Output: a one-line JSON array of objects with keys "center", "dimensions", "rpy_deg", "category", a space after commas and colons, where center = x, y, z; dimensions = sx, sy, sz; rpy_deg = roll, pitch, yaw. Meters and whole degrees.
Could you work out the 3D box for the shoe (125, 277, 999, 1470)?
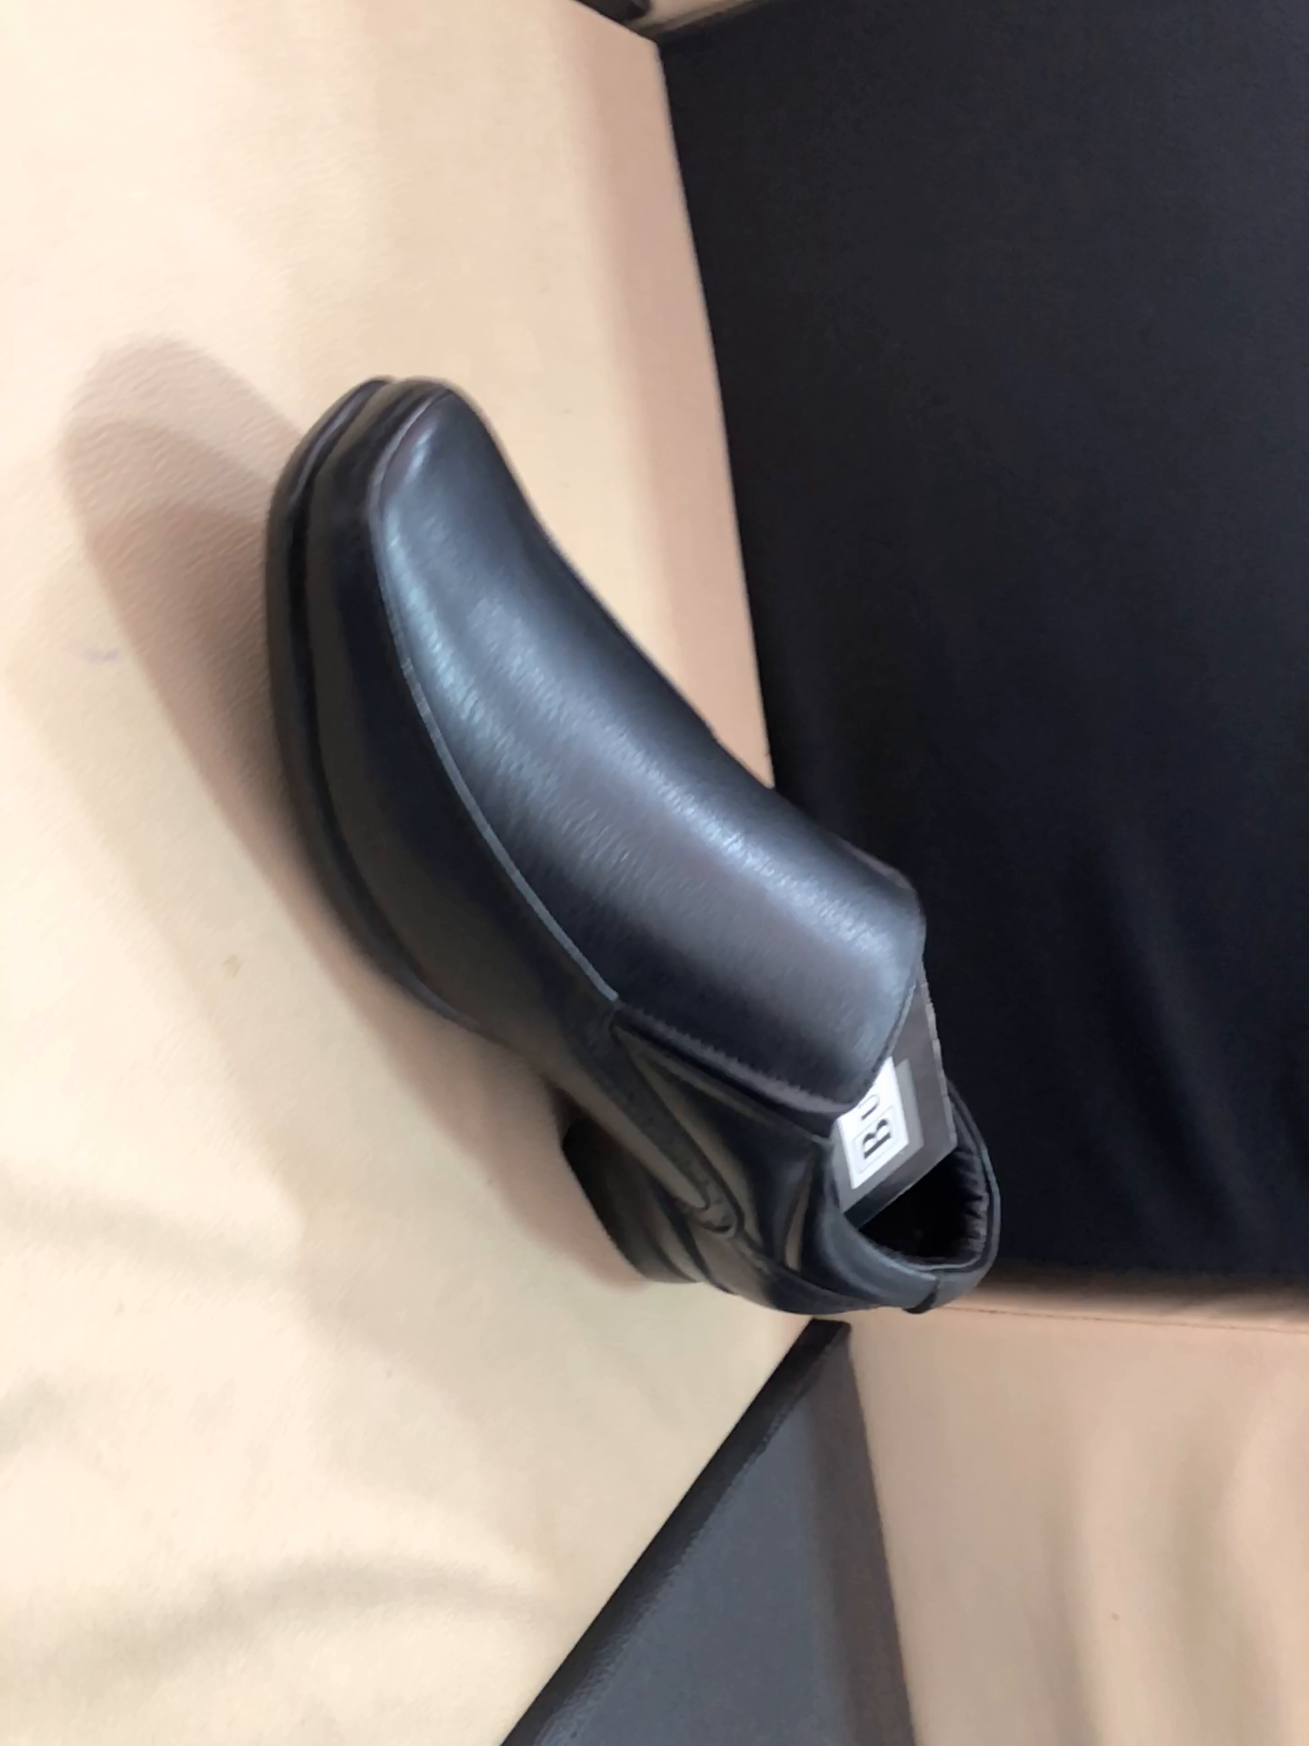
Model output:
[{"center": [0.008, 0.022, 0.355], "dimensions": [0.281, 0.069, 0.110], "rpy_deg": [63, 37, -36], "category": "shoe"}]
